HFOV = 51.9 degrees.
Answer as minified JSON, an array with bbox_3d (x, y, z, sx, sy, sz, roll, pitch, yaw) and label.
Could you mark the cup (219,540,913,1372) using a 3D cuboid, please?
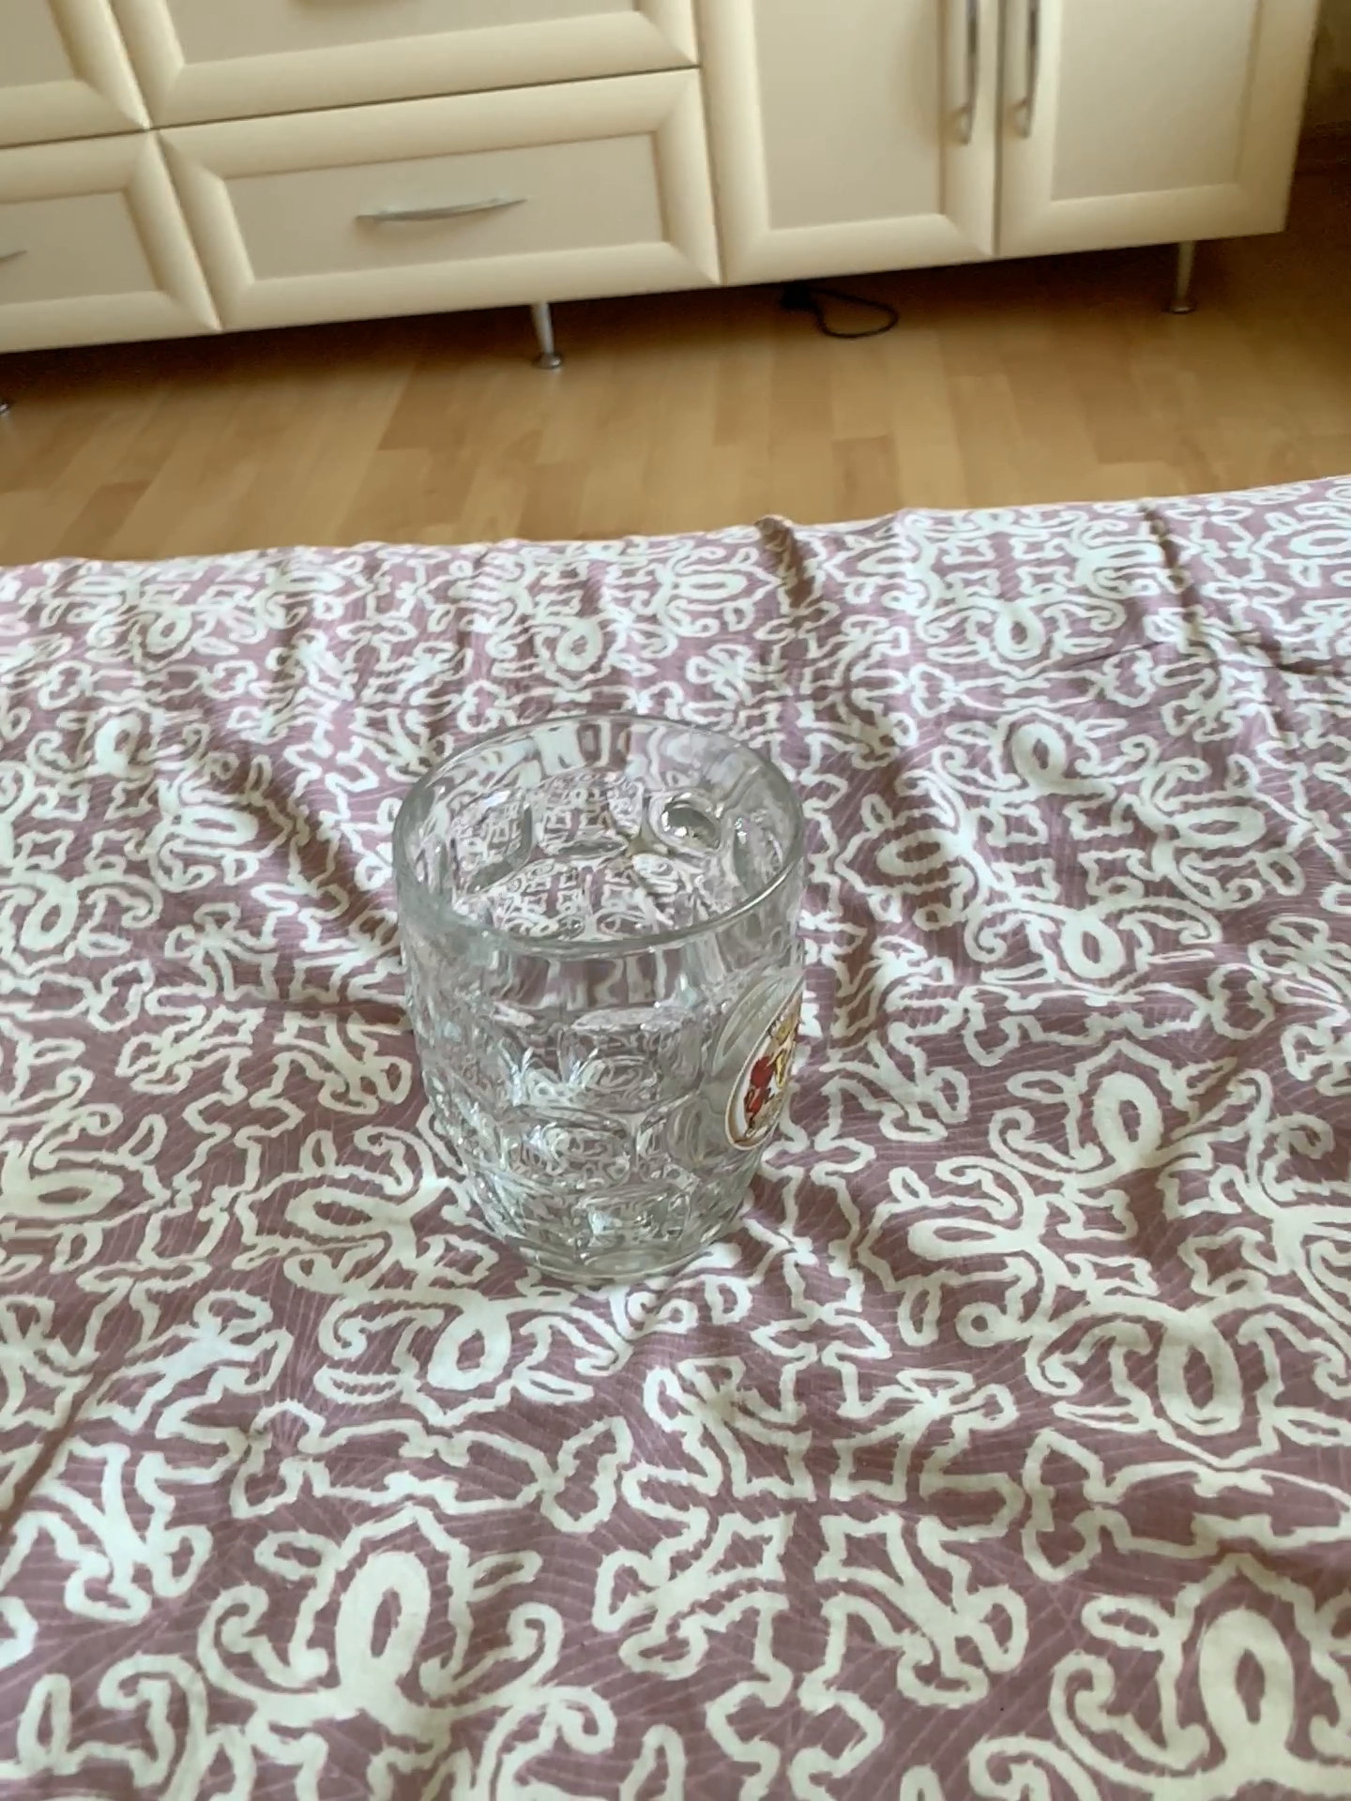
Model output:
[{"bbox_3d":[-0.012,0.007,0.313,0.090,0.109,0.131,14,48,18],"label":"cup"}]
